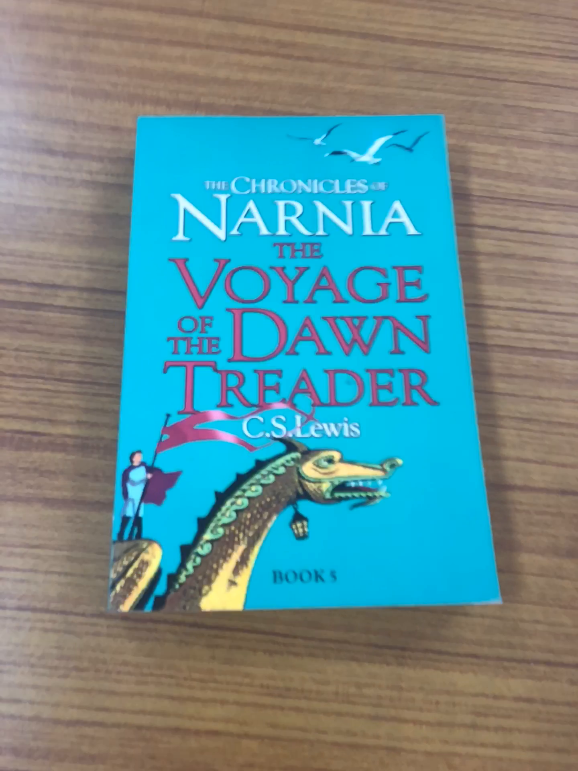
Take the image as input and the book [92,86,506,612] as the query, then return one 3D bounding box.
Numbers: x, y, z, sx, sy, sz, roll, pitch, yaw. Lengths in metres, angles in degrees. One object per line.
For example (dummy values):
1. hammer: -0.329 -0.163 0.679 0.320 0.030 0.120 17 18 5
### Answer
1. book: 0.002 -0.021 0.246 0.130 0.030 0.200 0 72 -3
